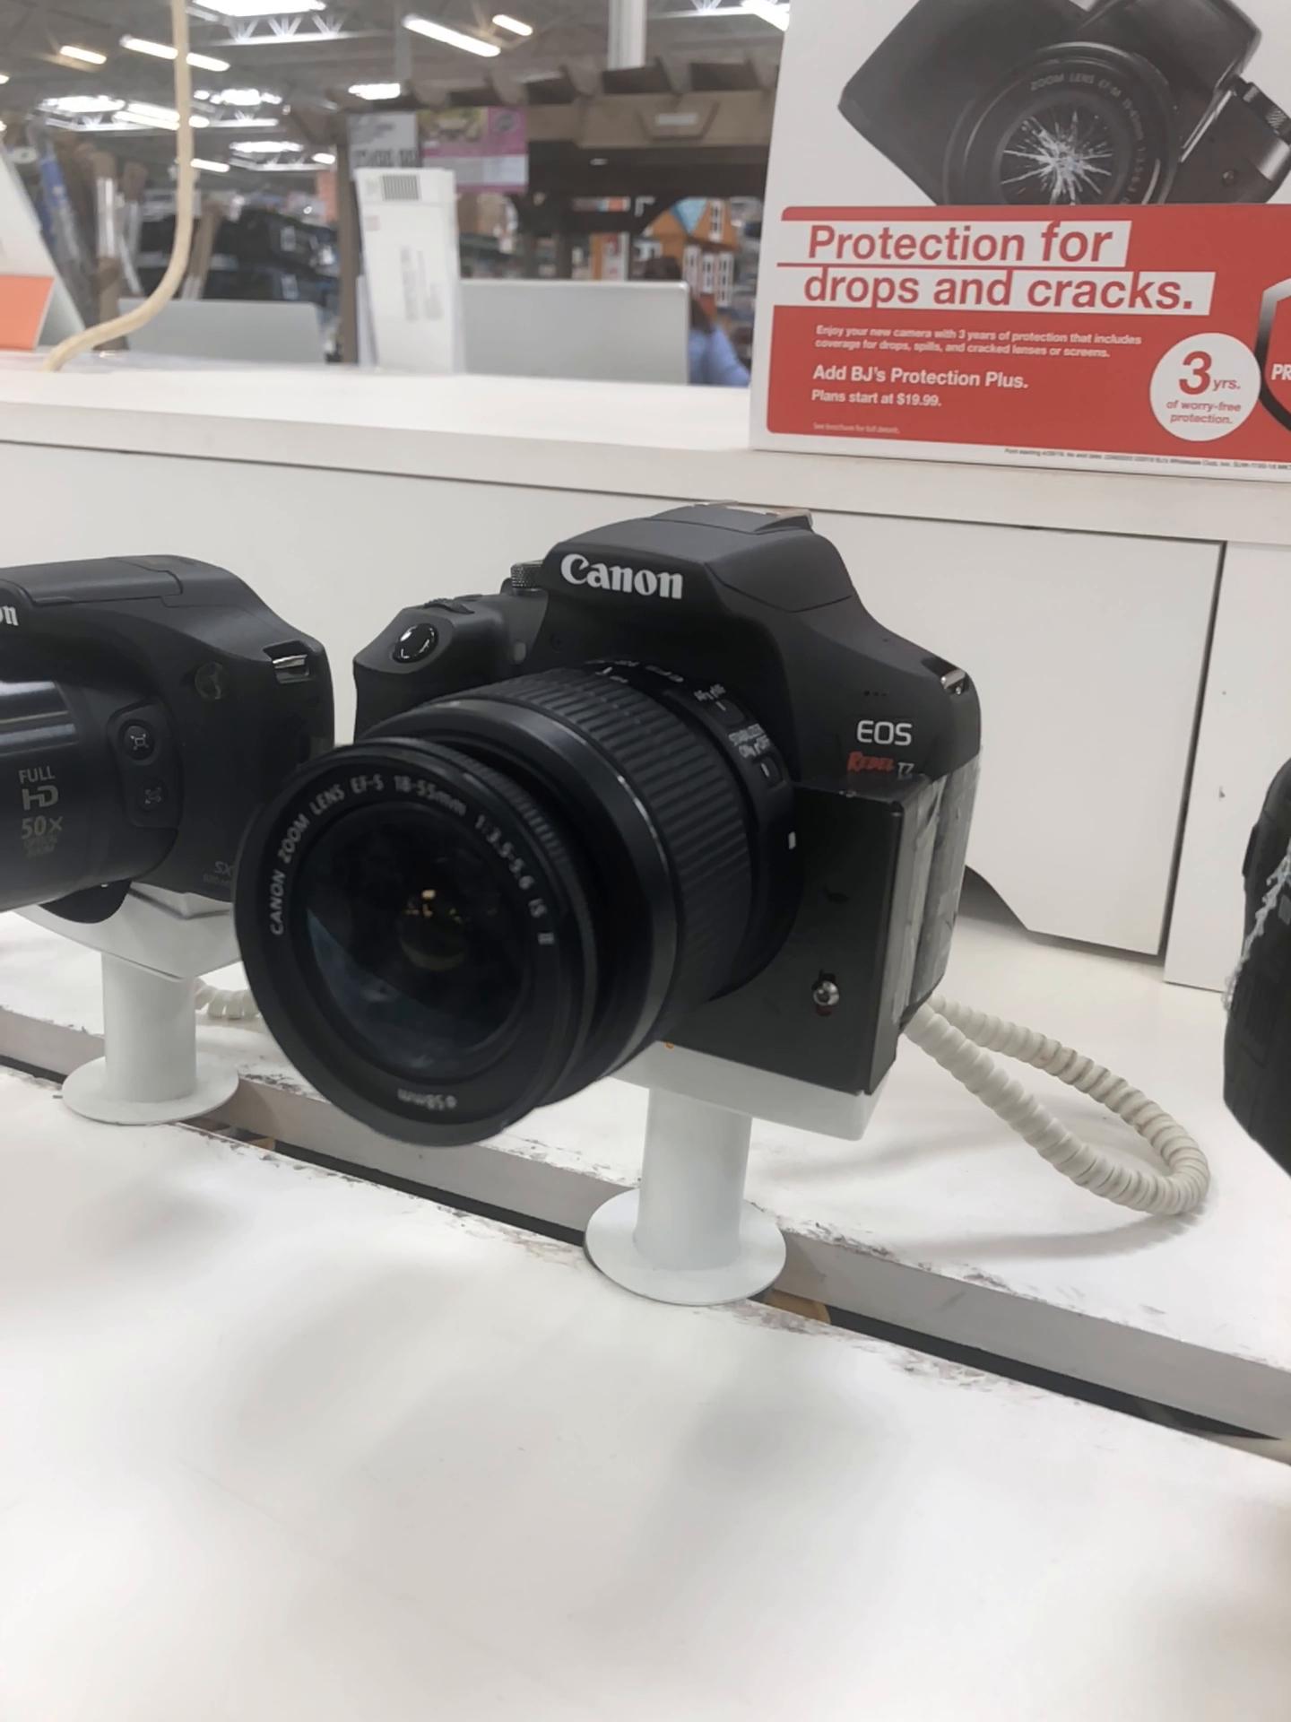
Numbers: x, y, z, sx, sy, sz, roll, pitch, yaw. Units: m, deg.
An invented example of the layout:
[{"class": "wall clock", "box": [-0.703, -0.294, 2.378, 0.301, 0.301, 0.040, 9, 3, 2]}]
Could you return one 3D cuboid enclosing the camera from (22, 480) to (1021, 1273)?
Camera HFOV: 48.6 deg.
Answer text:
[{"class": "camera", "box": [-0.012, -0.015, 0.269, 0.130, 0.092, 0.132, 10, 21, 22]}]
